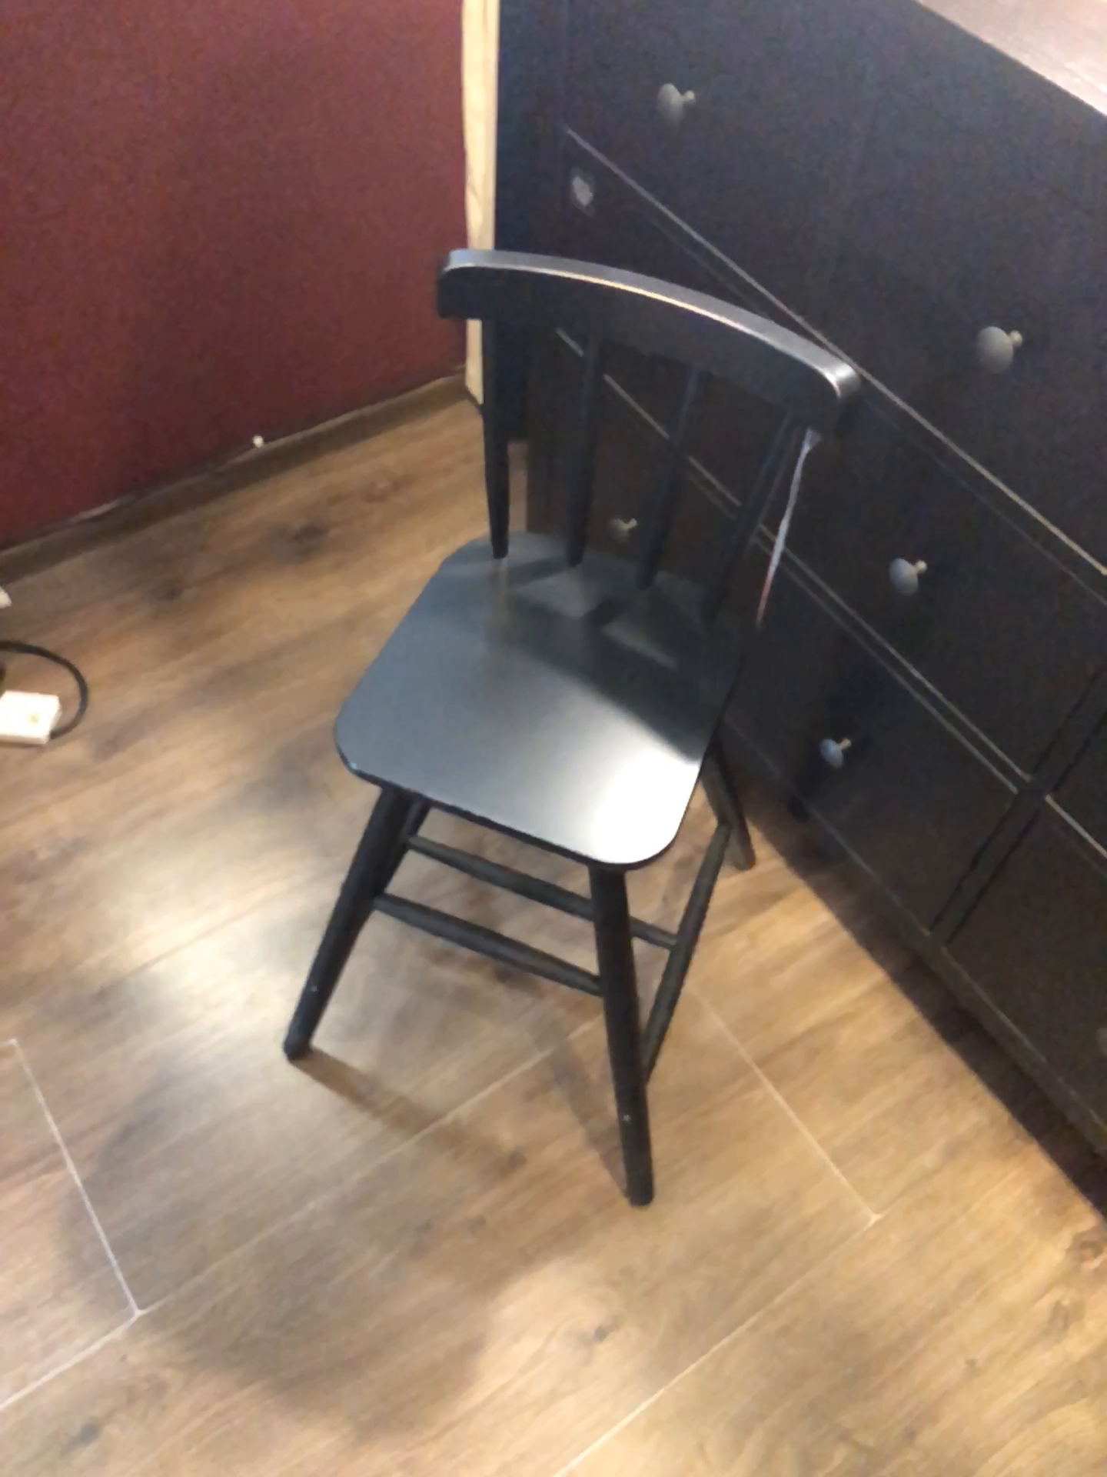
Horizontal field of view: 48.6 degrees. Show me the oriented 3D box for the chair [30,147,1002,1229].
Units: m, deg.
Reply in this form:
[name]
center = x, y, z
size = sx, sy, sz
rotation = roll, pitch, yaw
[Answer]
[chair]
center = -0.002, 0.009, 1.049
size = 0.450, 0.717, 0.472
rotation = 20, 56, 11
